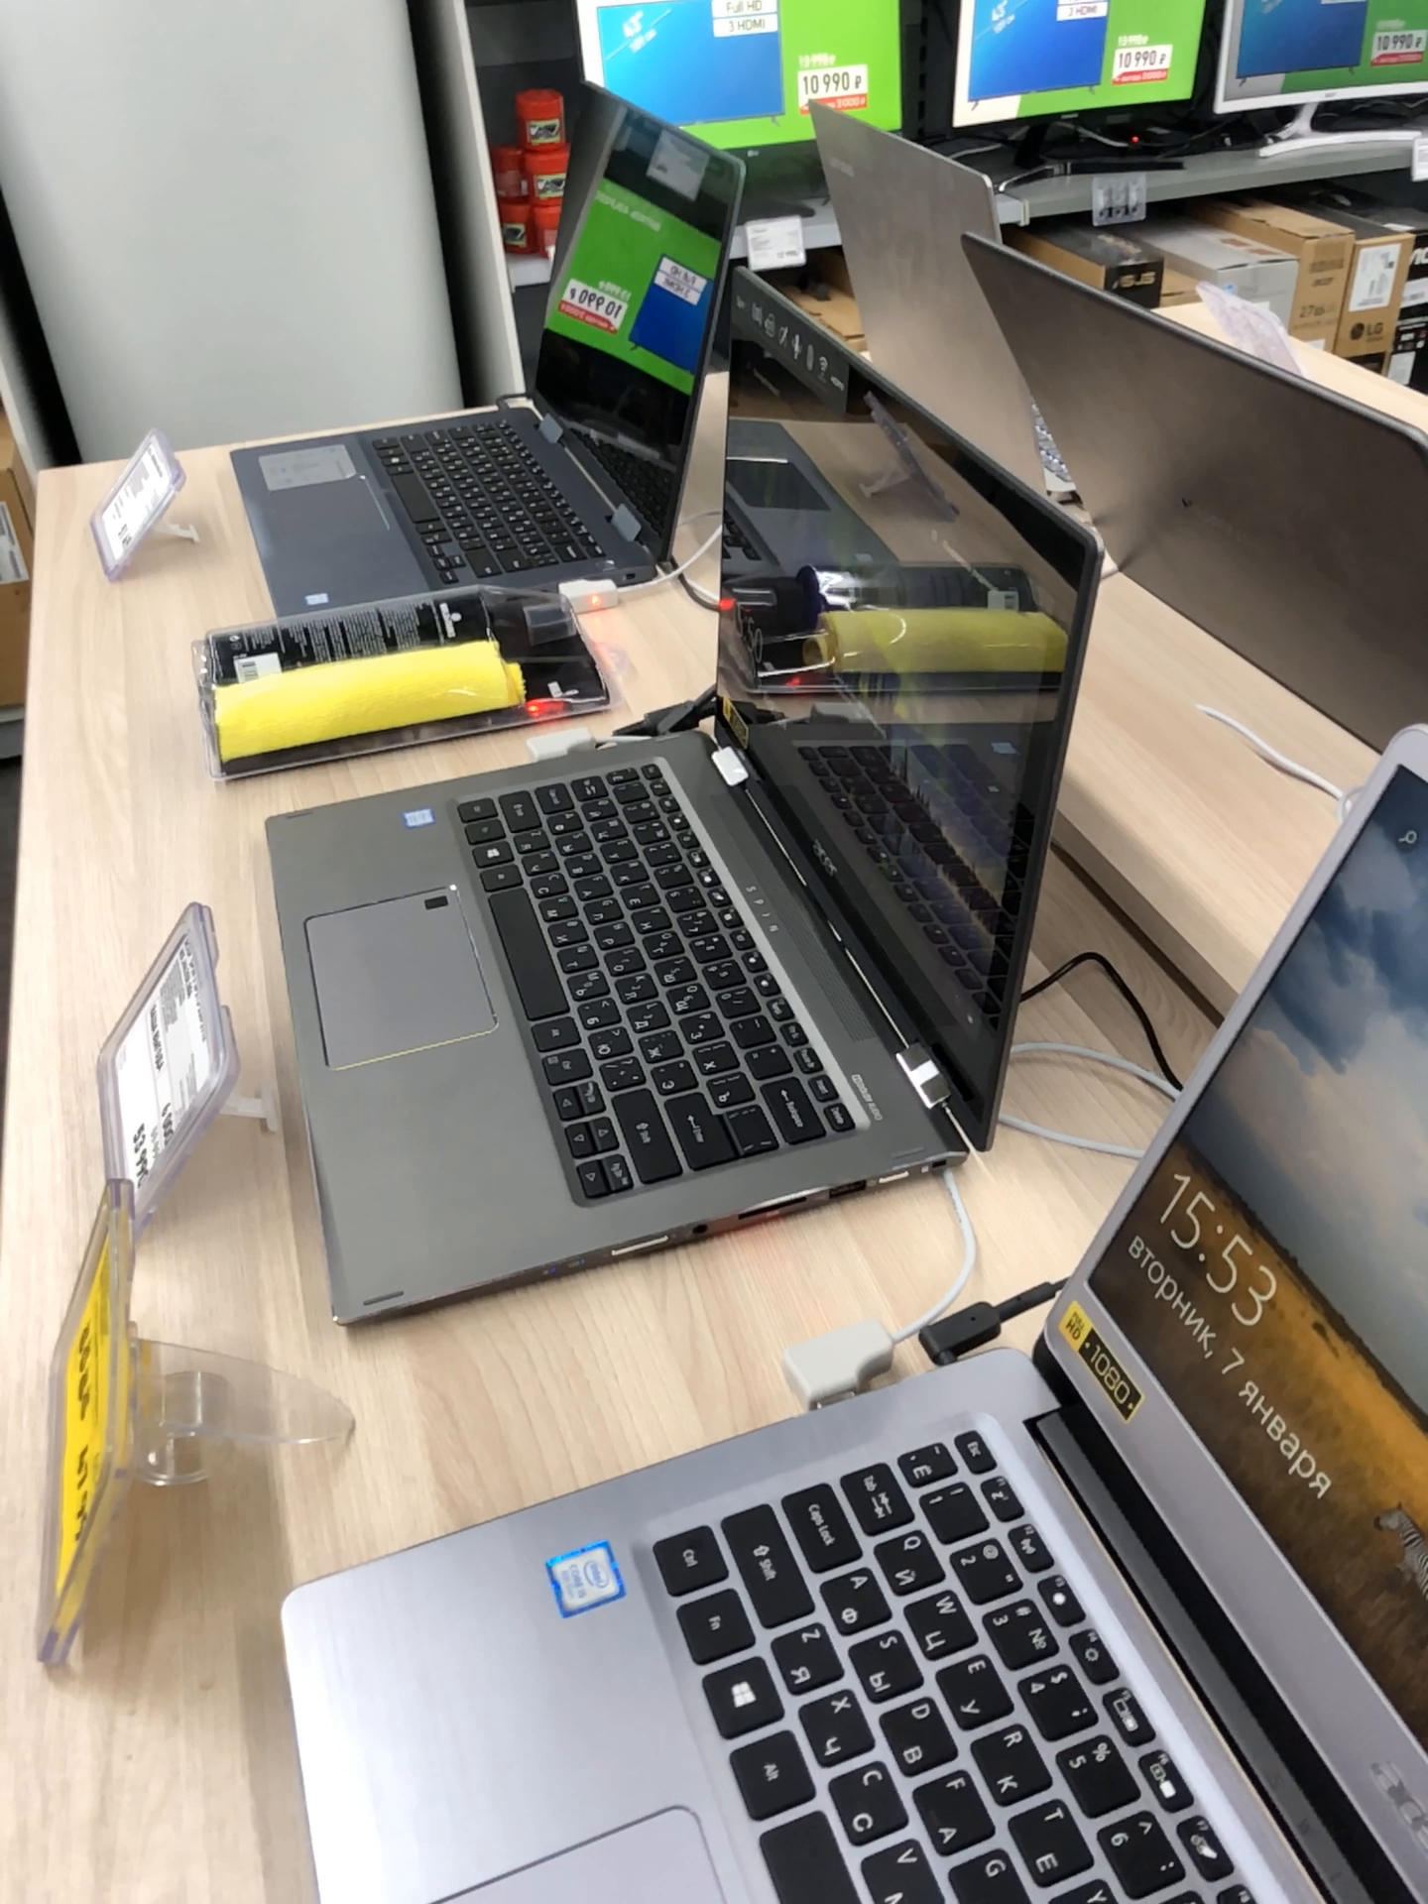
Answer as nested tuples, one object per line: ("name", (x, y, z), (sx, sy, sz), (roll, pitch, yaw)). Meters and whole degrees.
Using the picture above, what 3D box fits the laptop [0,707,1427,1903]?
("laptop", (0.062, 0.129, 0.283), (0.298, 0.196, 0.271), (-13, 36, -14))

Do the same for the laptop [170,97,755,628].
("laptop", (-0.170, -0.397, 1.010), (0.288, 0.215, 0.341), (-13, 36, -12))

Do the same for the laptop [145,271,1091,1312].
("laptop", (-0.057, -0.087, 0.582), (0.245, 0.215, 0.316), (-12, 37, -11))
